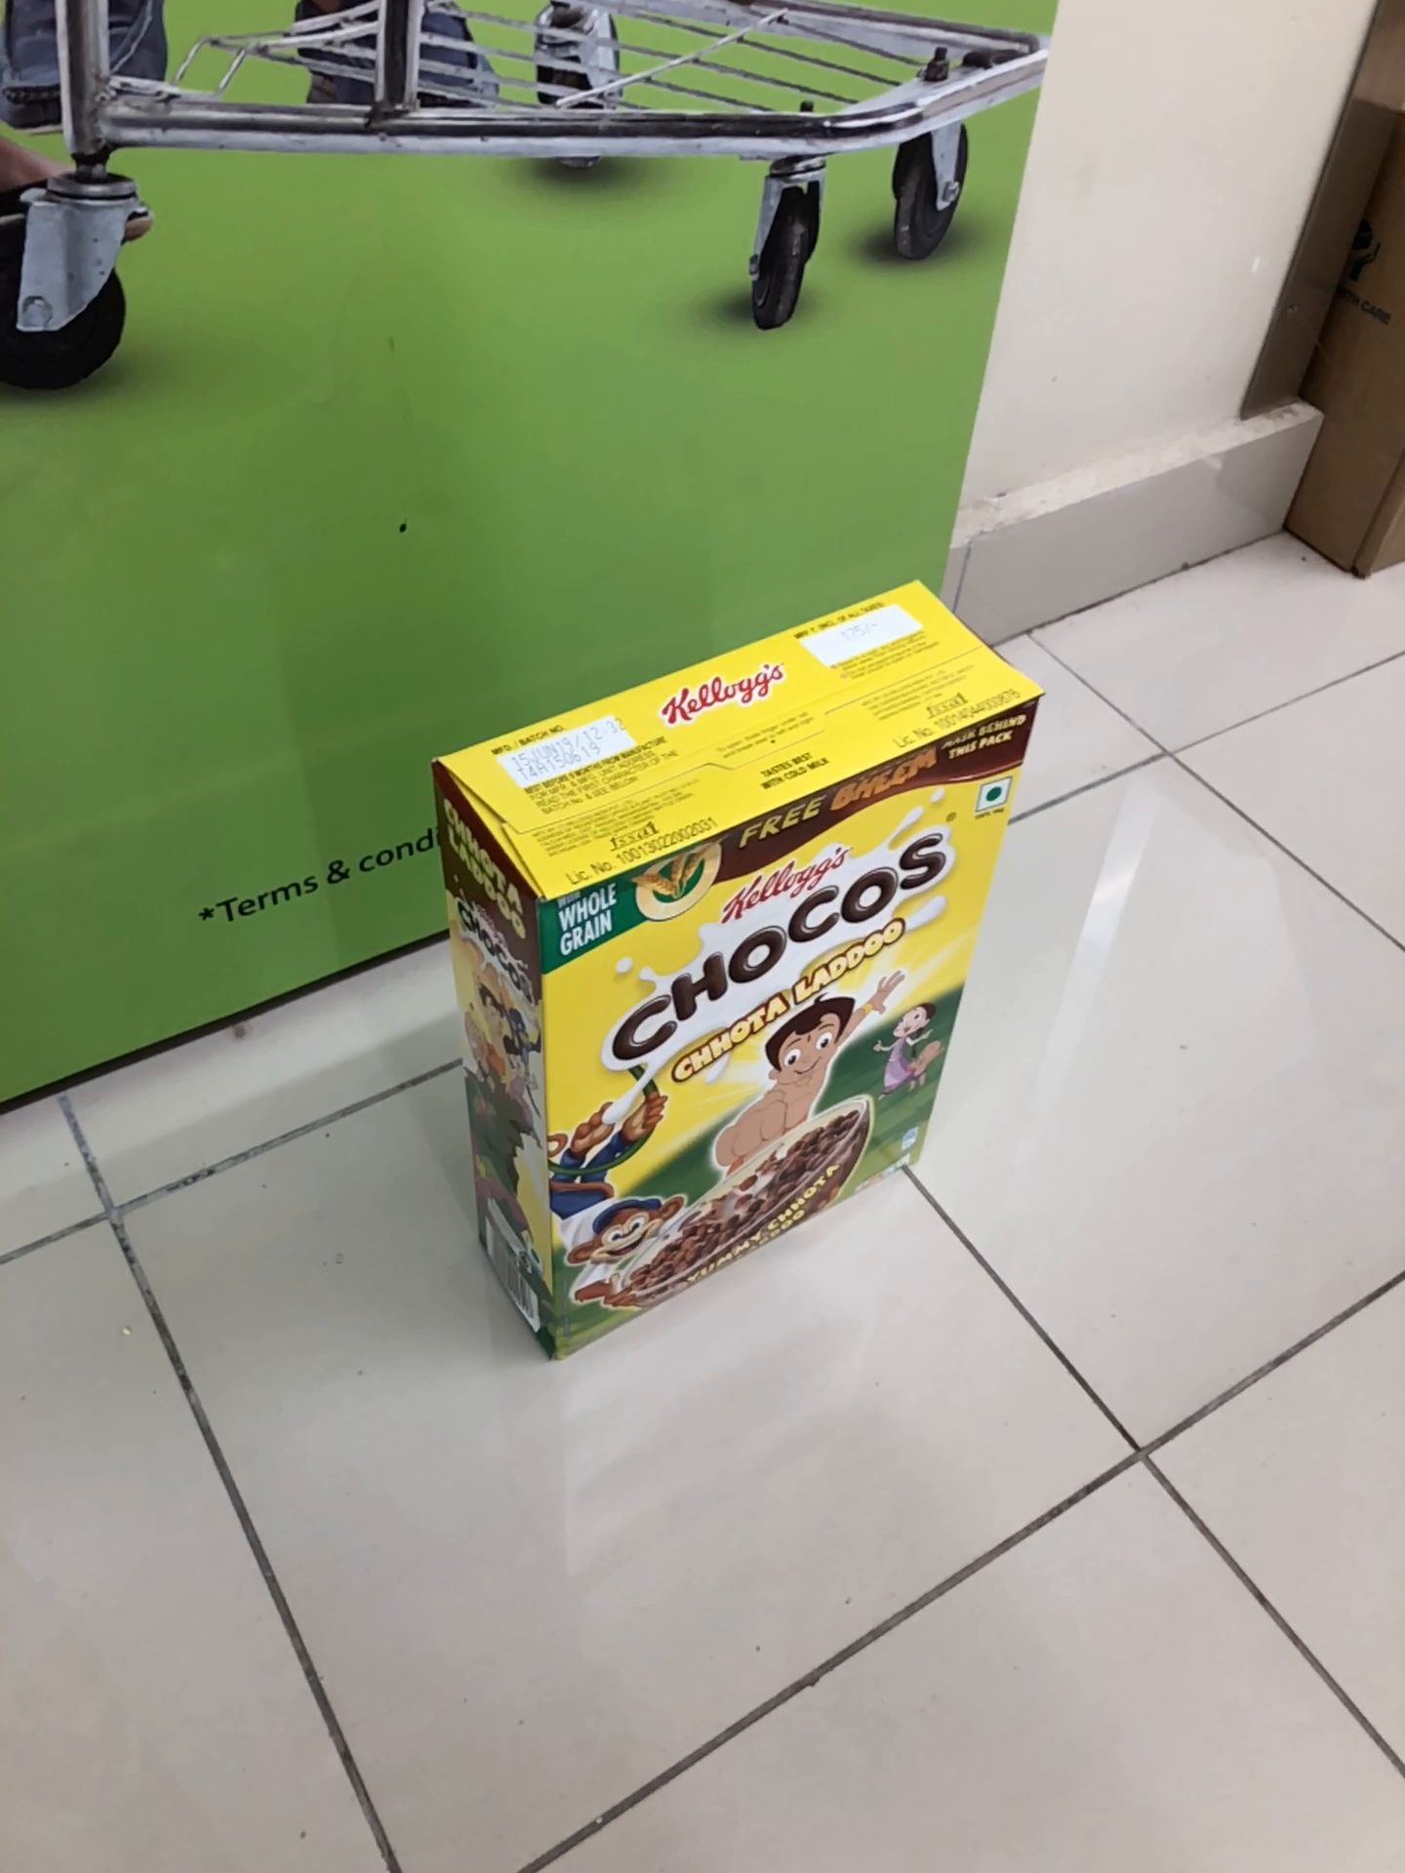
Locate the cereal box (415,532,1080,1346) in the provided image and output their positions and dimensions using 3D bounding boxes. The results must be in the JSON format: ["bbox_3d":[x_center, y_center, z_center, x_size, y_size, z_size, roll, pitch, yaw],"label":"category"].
[{"bbox_3d":[0.010,0.010,0.552,0.191,0.258,0.070,-24,54,-24],"label":"cereal box"}]
